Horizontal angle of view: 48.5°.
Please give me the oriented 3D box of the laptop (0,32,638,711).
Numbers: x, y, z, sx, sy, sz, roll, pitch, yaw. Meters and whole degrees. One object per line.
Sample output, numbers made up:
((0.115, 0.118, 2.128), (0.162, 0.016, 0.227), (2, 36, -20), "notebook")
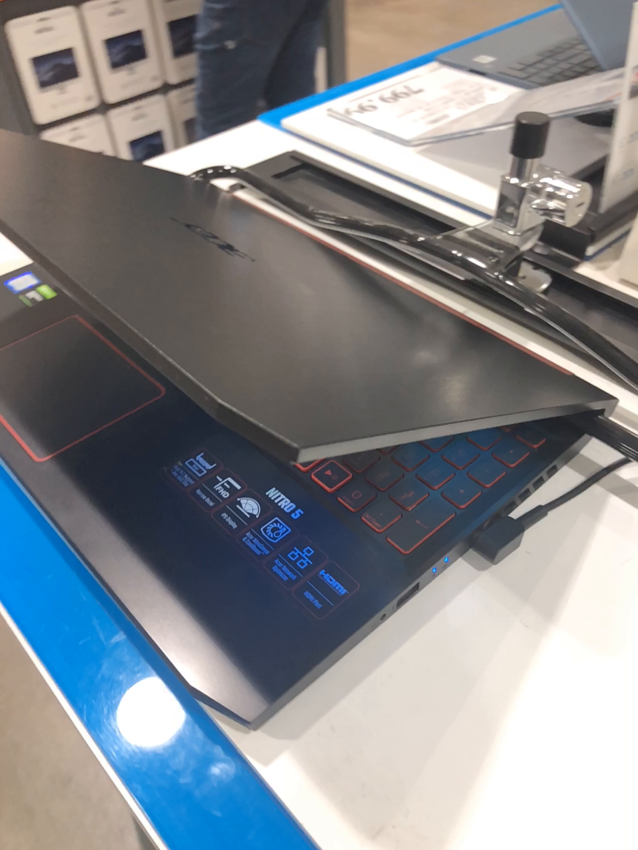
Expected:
((-0.068, -0.077, 0.366), (0.218, 0.121, 0.345), (-33, 52, -28), "laptop")
